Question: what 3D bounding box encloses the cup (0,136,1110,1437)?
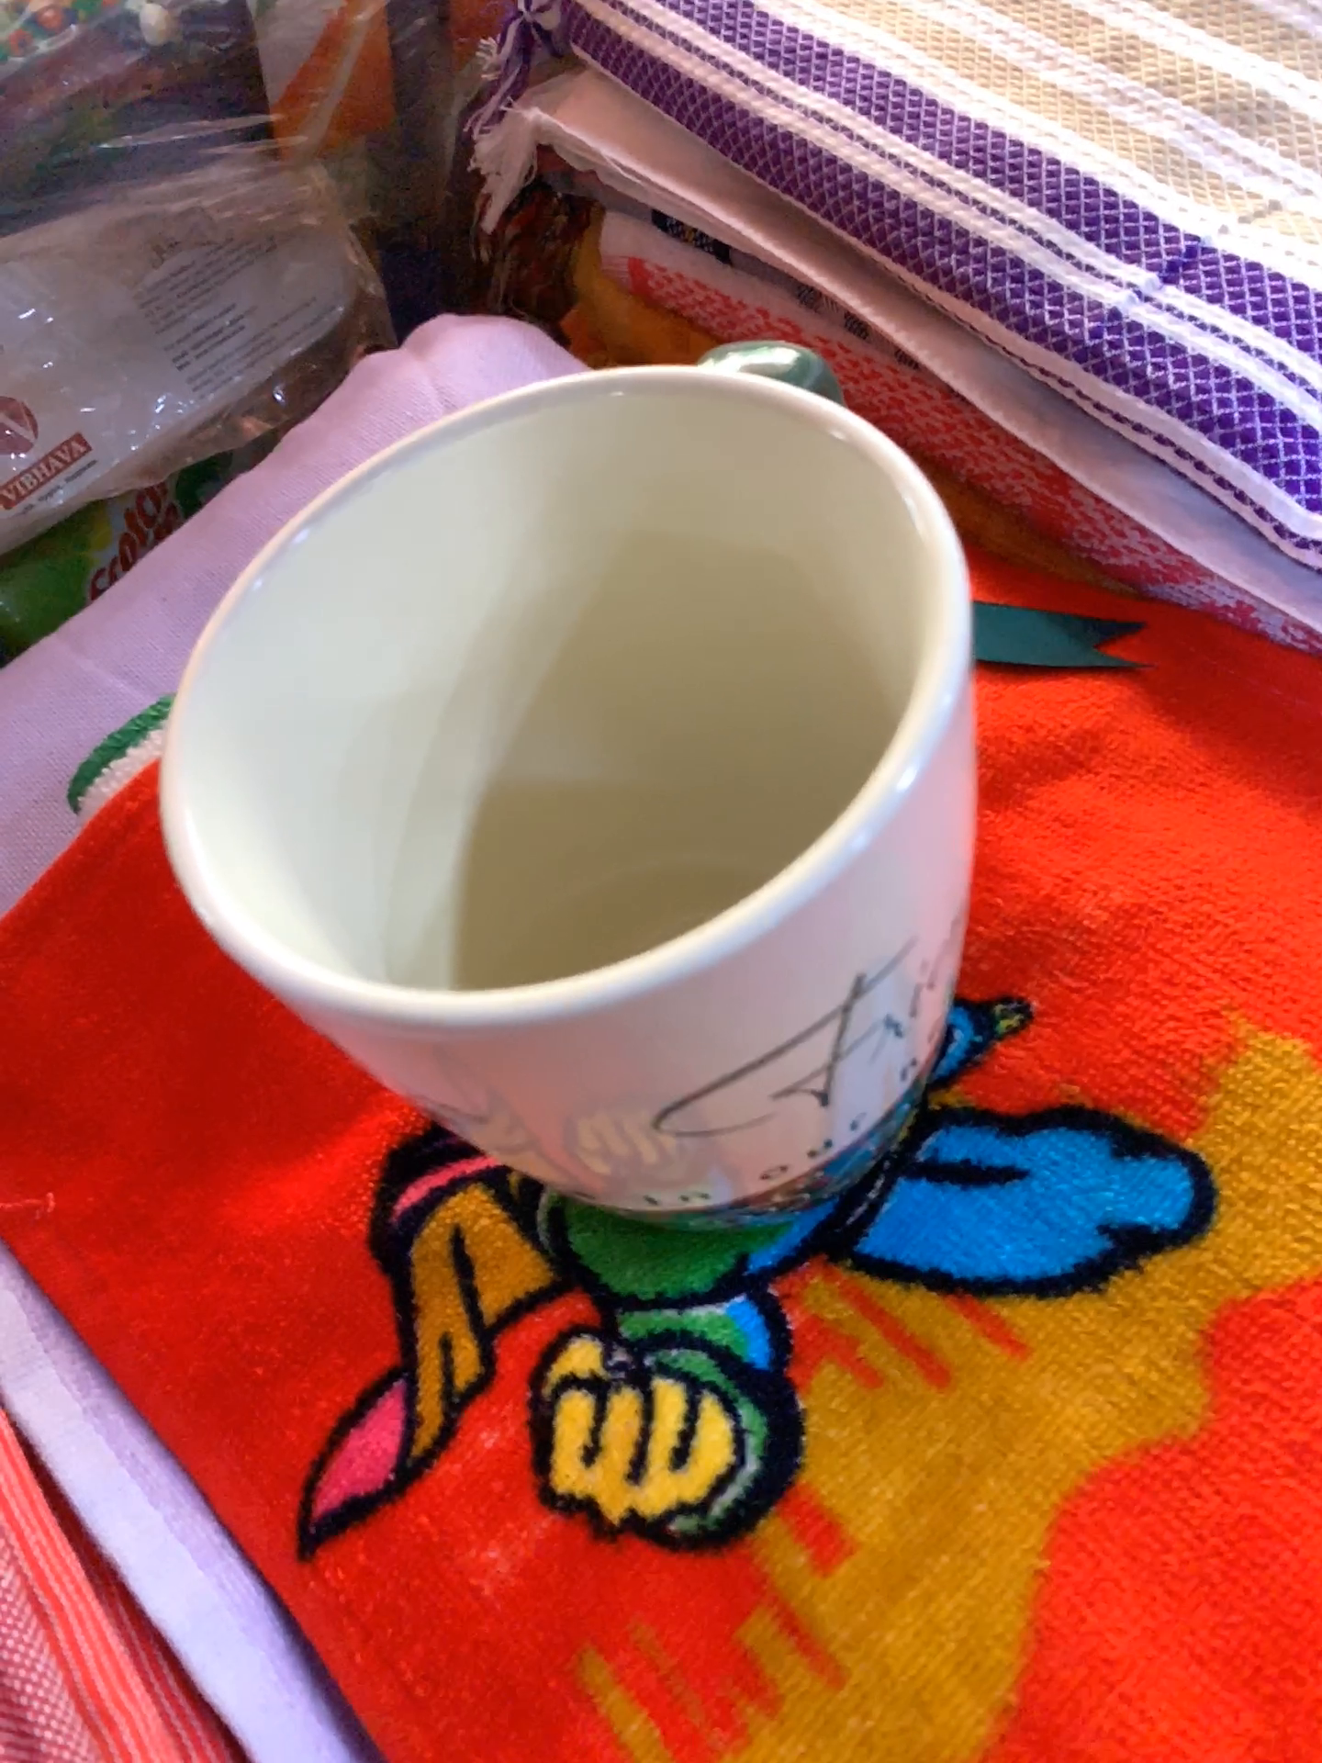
[{"bbox_3d":[-0.003,-0.015,0.187,0.100,0.094,0.133,9,62,20],"label":"cup"}]
